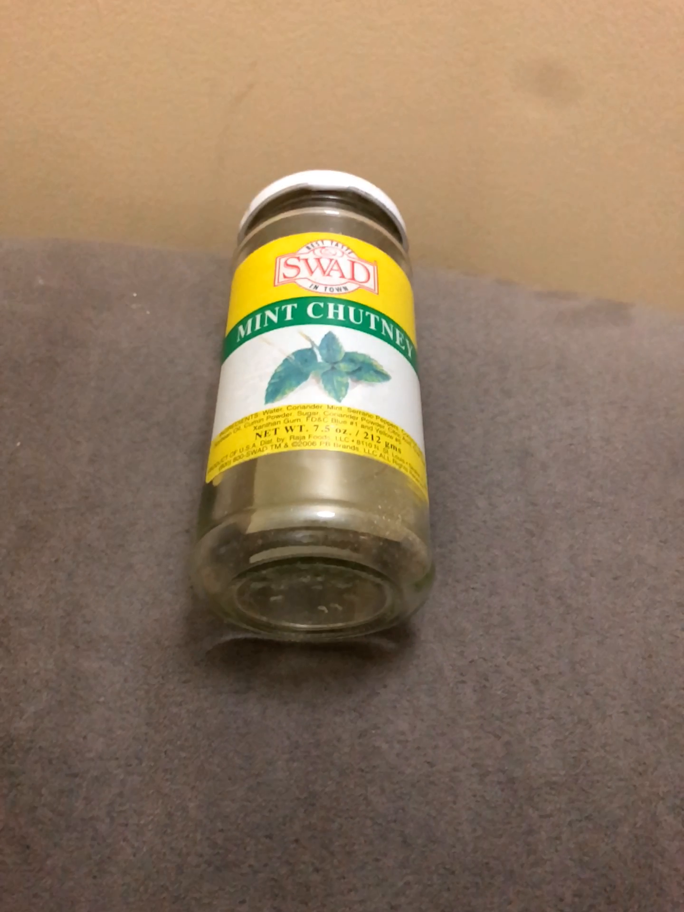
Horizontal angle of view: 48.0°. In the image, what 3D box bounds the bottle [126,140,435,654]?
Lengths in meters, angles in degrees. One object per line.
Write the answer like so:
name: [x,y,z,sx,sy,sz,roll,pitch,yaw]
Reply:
bottle: [-0.012,-0.022,0.214,0.060,0.059,0.137,0,53,0]
